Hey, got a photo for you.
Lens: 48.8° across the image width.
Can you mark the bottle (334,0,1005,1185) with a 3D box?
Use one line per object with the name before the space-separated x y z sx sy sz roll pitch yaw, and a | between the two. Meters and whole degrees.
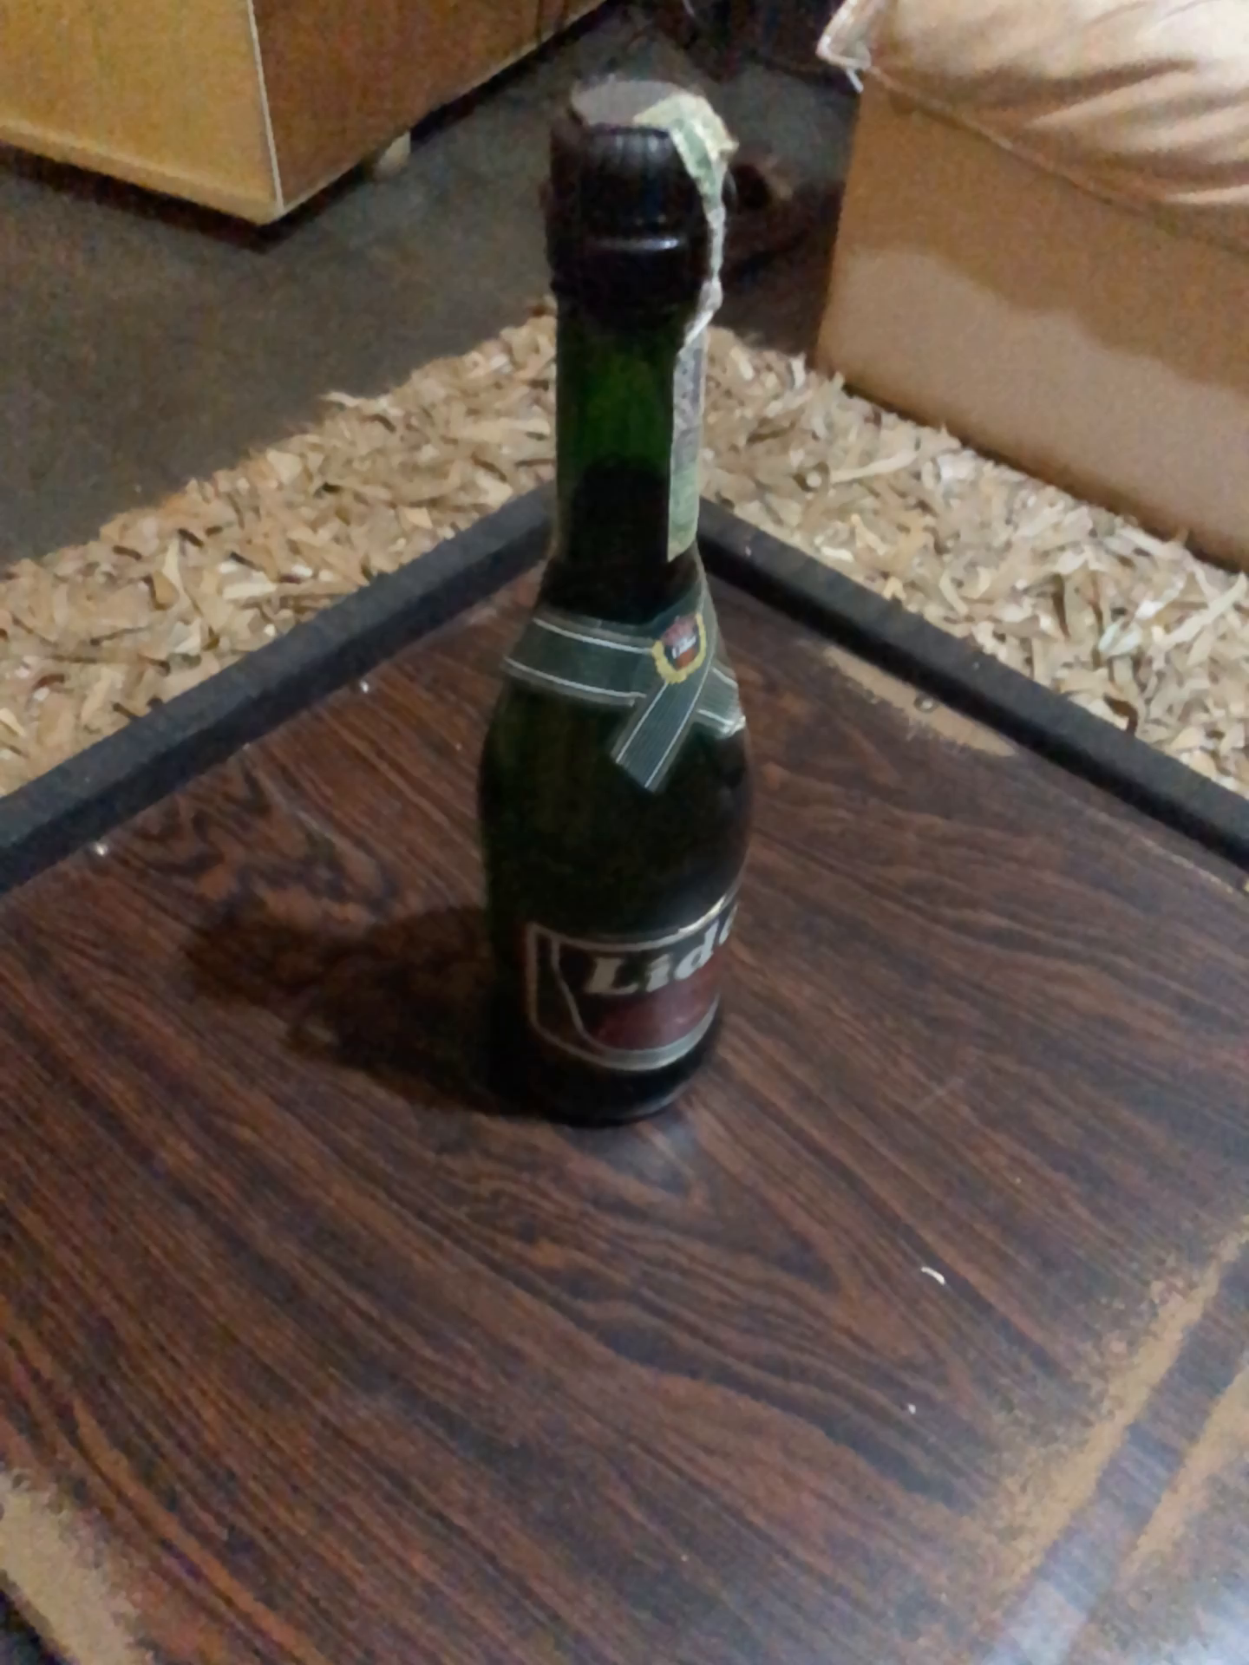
bottle | 0.004 -0.033 0.354 0.090 0.288 0.080 -35 59 -29
